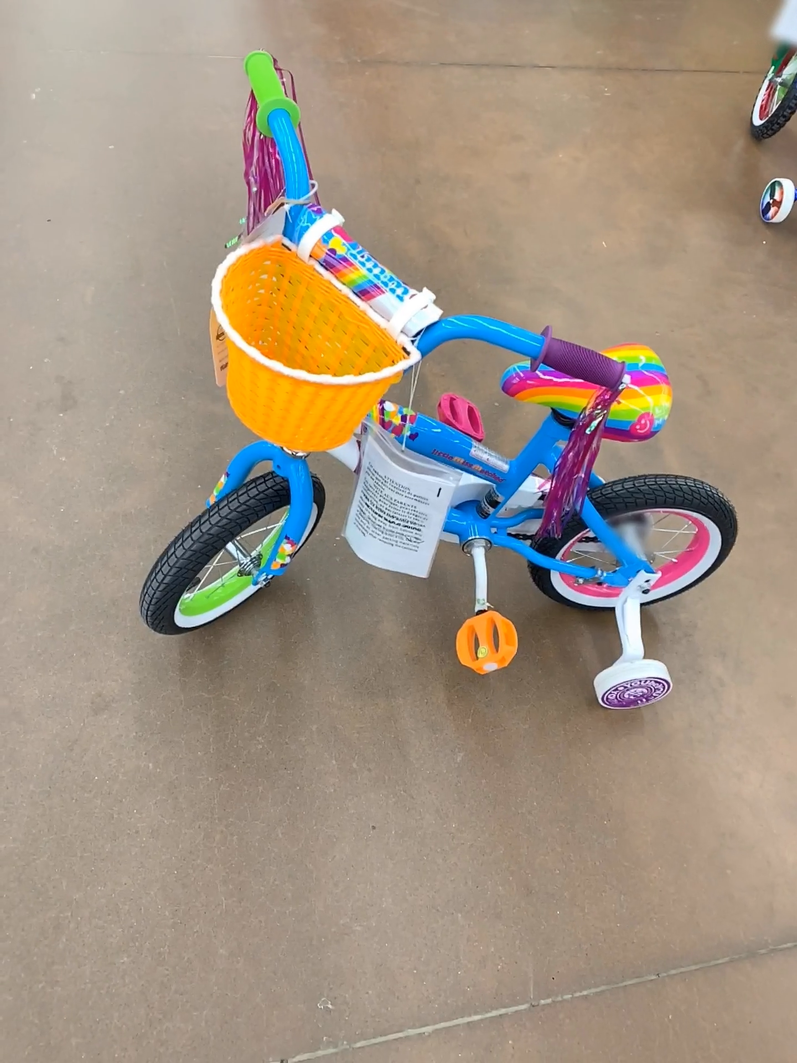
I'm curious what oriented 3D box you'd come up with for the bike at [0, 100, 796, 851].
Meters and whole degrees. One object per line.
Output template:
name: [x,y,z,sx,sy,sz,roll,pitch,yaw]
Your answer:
bike: [0.104,-0.056,0.993,0.833,0.666,0.523,-4,52,-9]
